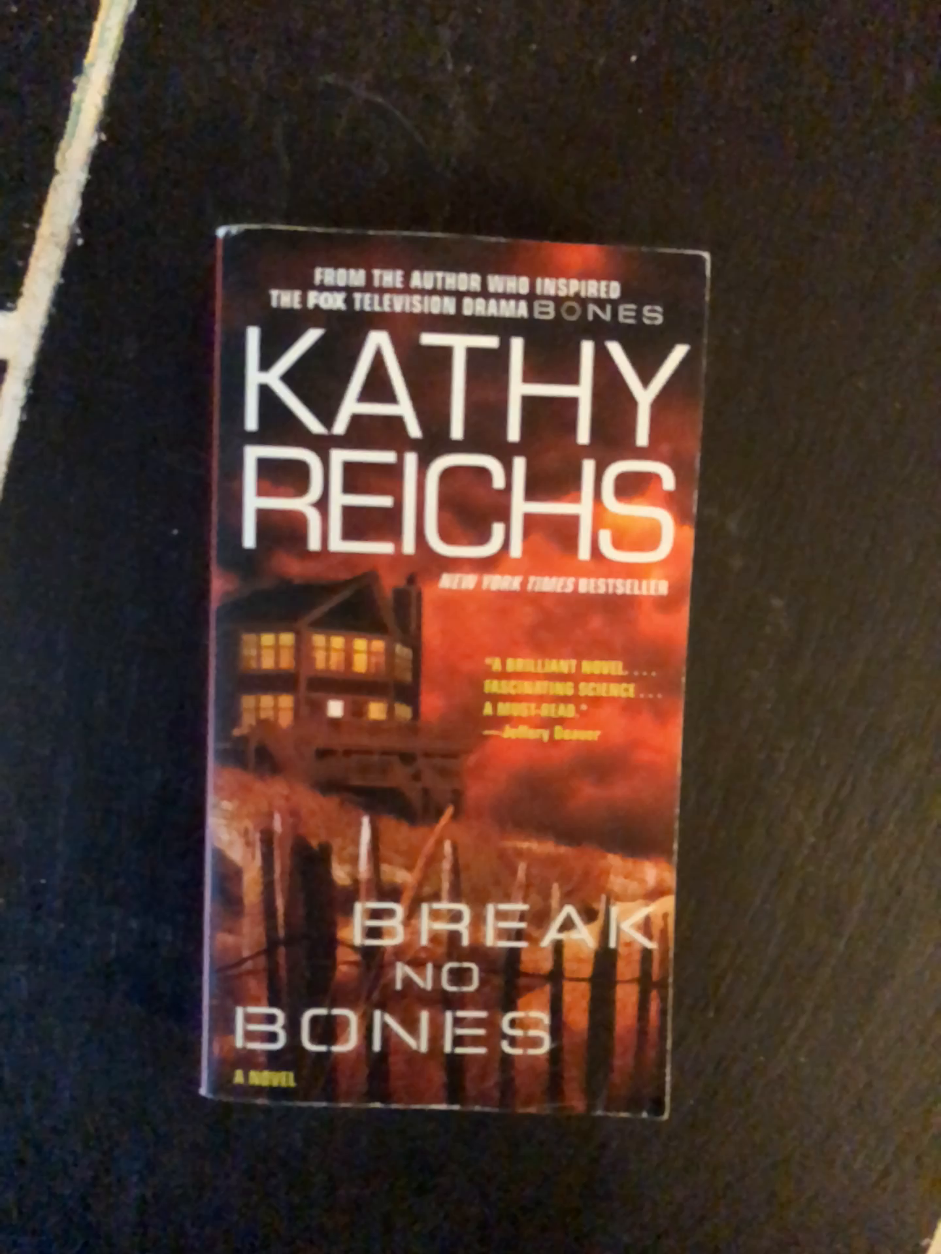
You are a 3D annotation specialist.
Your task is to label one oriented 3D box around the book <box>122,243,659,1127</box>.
[{"bbox_3d":[-0.020,0.016,0.240,0.107,0.030,0.189,3,95,-2],"label":"book"}]
